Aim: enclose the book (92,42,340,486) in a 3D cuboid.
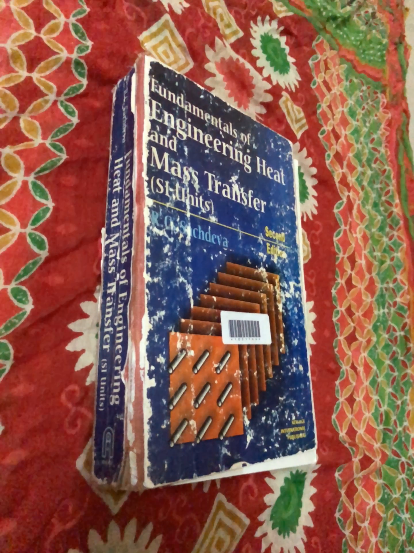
[{"bbox_3d":[0.014,-0.002,0.277,0.151,0.043,0.209,11,73,-43],"label":"book"}]
